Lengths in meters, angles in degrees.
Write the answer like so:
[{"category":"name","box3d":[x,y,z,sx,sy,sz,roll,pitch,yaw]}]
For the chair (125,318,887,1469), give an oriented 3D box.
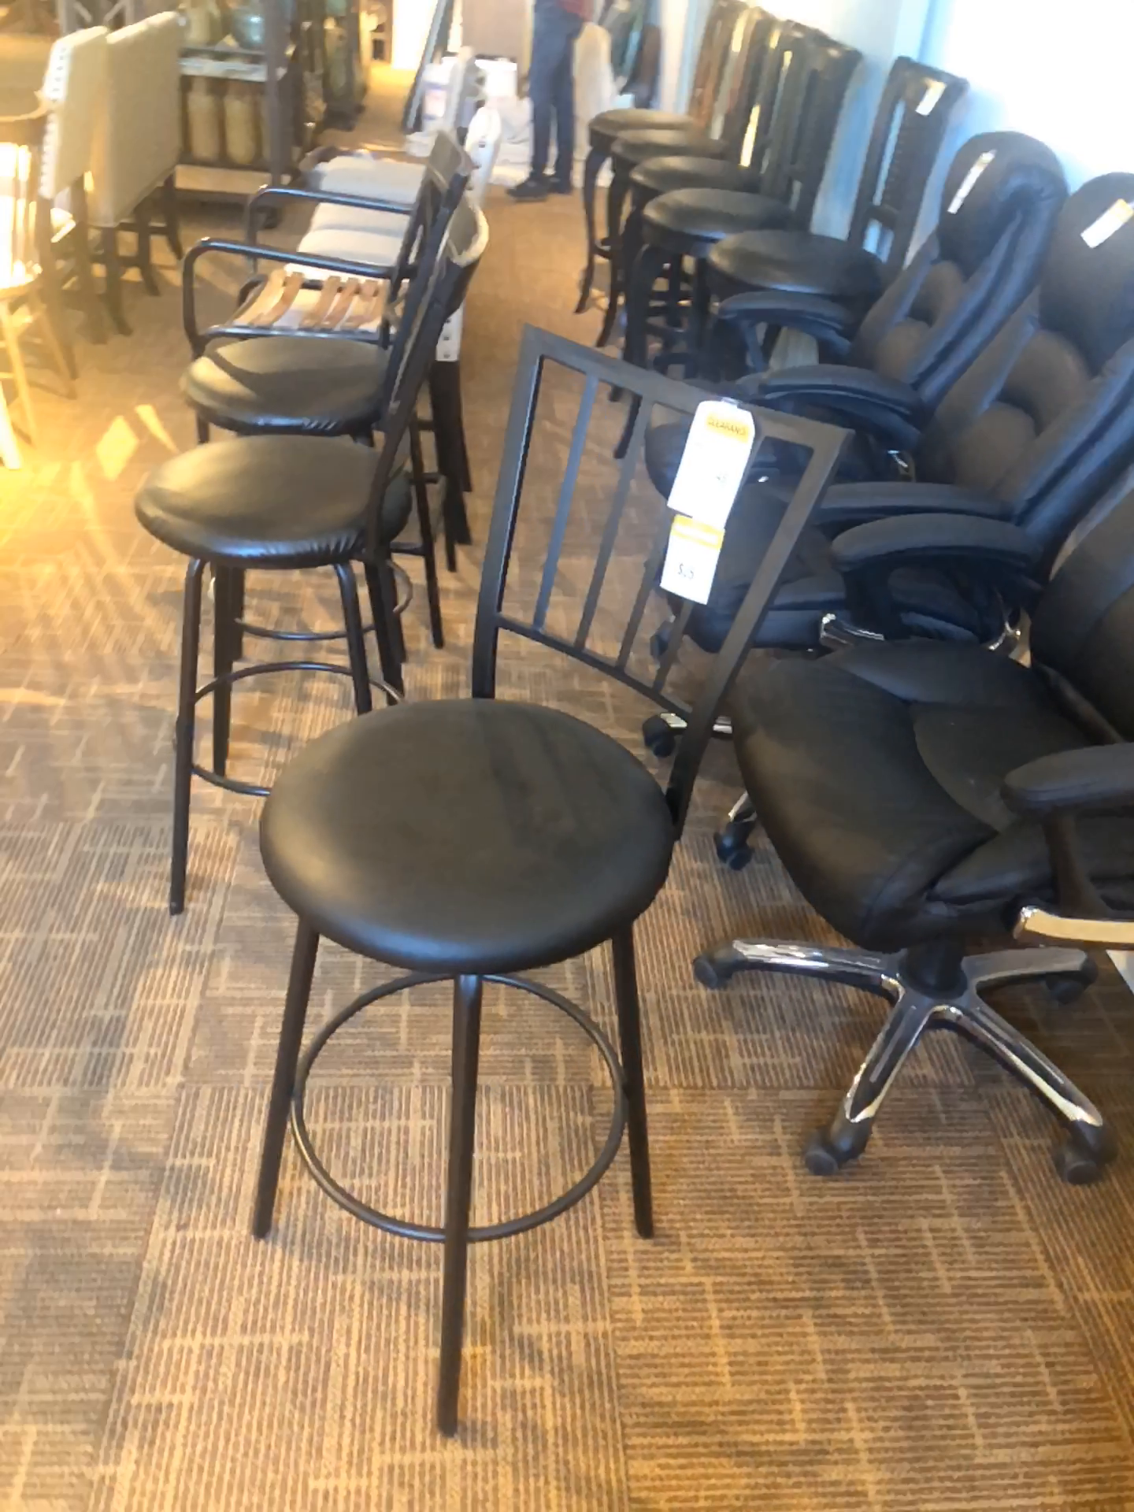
[{"category":"chair","box3d":[-0.084,0.164,1.344,0.431,1.074,0.482,29,40,29]}]
